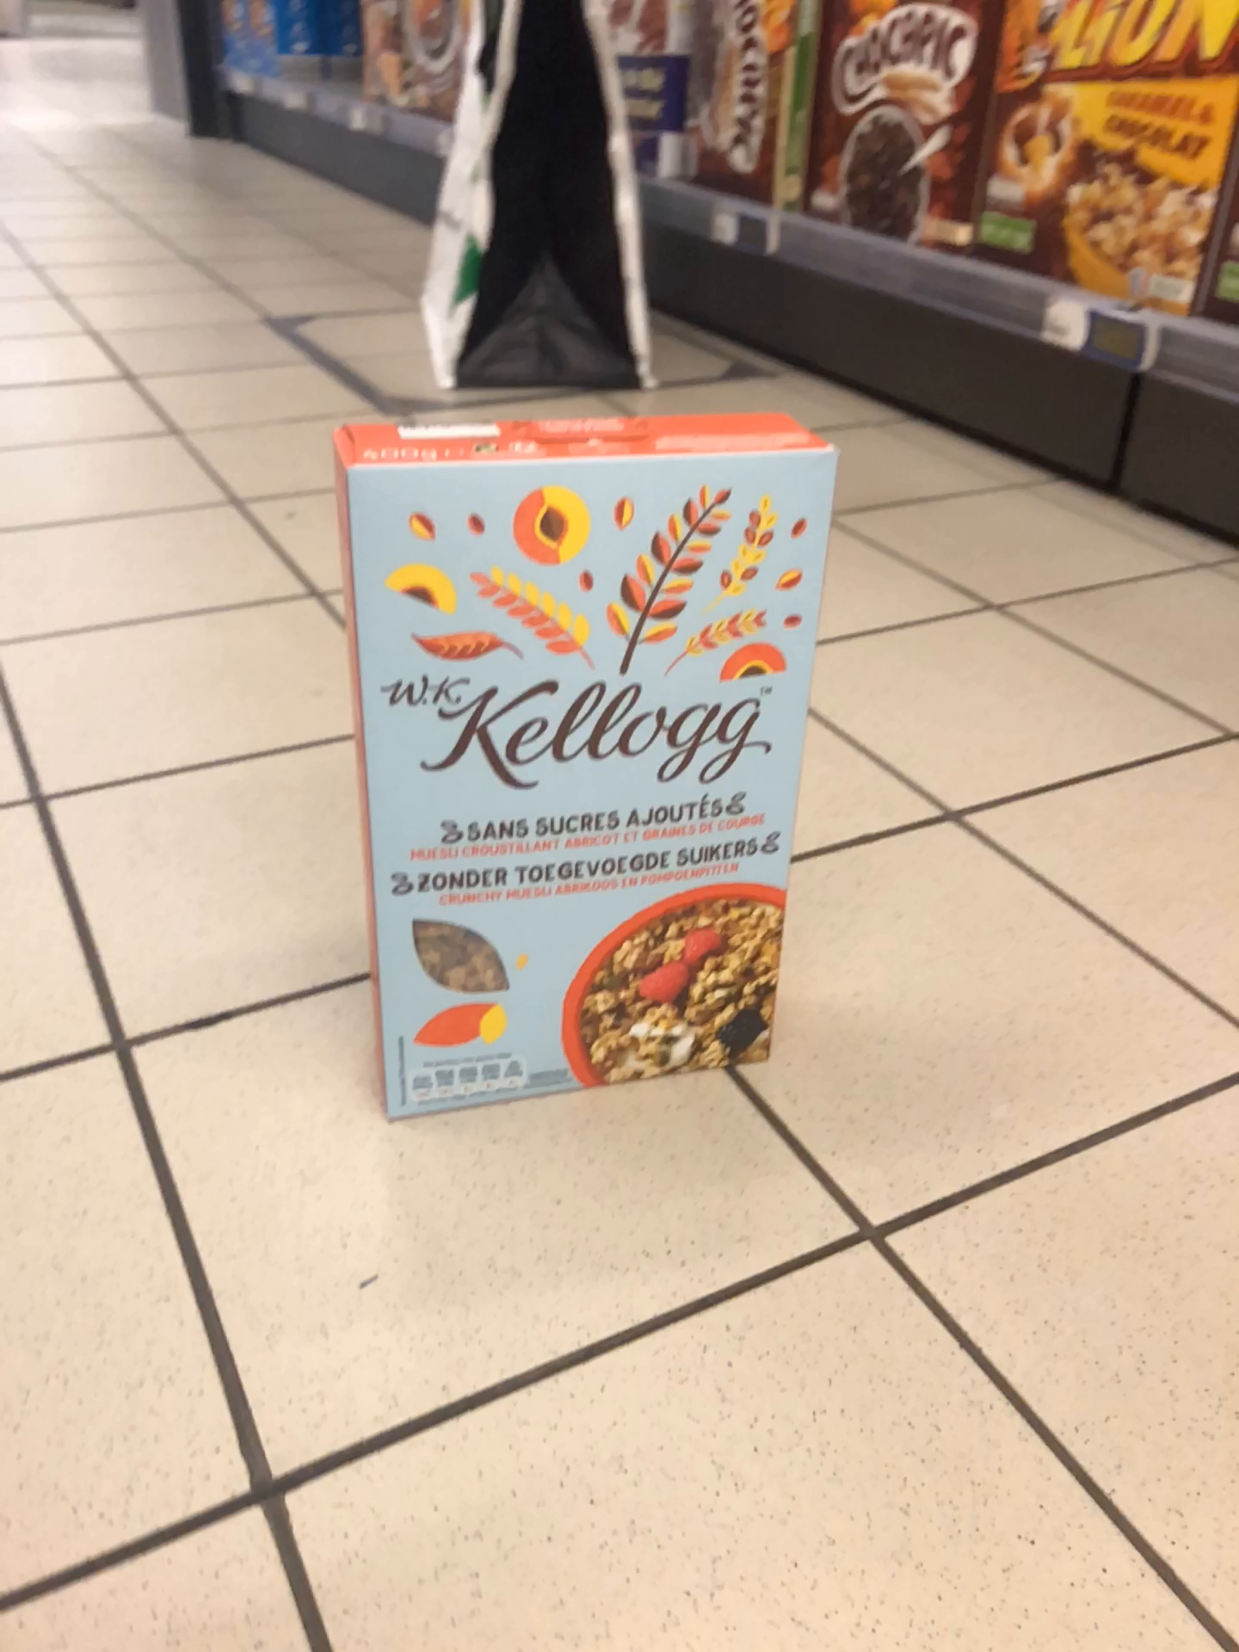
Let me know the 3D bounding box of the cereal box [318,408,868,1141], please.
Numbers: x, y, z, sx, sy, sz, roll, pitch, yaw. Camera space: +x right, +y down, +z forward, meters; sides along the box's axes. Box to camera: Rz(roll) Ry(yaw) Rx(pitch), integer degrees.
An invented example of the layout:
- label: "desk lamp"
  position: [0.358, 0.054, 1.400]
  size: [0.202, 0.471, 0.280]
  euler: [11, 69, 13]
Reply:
- label: "cereal box"
  position: [-0.012, -0.012, 0.446]
  size: [0.150, 0.229, 0.050]
  euler: [-5, 30, -13]
